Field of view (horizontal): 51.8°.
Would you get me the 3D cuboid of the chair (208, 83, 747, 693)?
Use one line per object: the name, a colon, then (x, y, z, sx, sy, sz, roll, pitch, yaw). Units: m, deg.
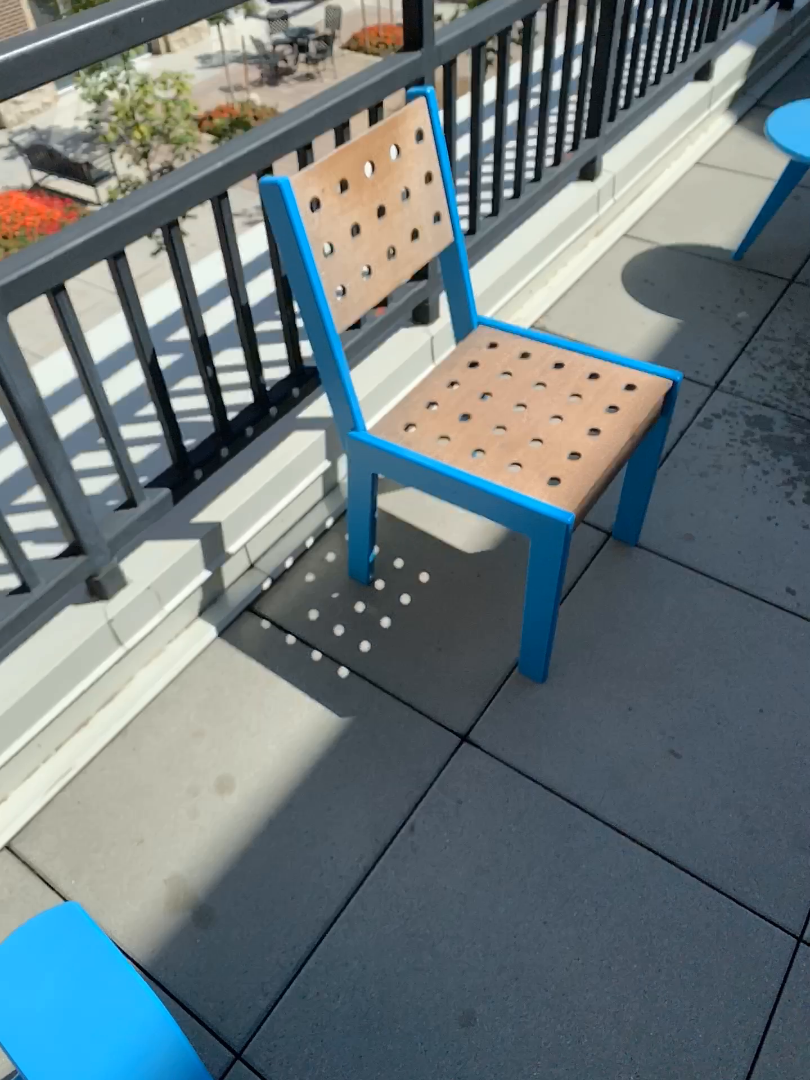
chair: (0.126, -0.272, 1.578, 0.671, 0.856, 0.471, 26, 53, 25)
